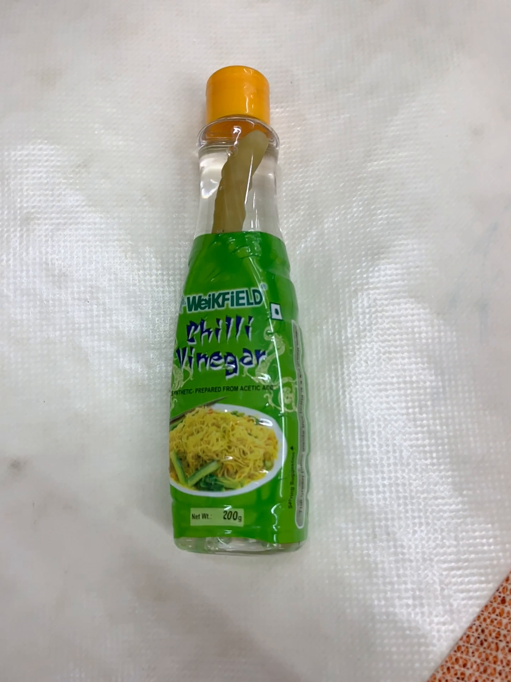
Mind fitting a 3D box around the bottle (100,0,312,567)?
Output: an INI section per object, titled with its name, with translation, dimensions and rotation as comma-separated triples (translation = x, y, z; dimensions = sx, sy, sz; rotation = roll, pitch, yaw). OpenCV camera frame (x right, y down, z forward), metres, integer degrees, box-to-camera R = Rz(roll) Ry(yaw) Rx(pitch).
[bottle]
translation = -0.018, -0.019, 0.193
dimensions = 0.060, 0.040, 0.180
rotation = -5, 83, 19
